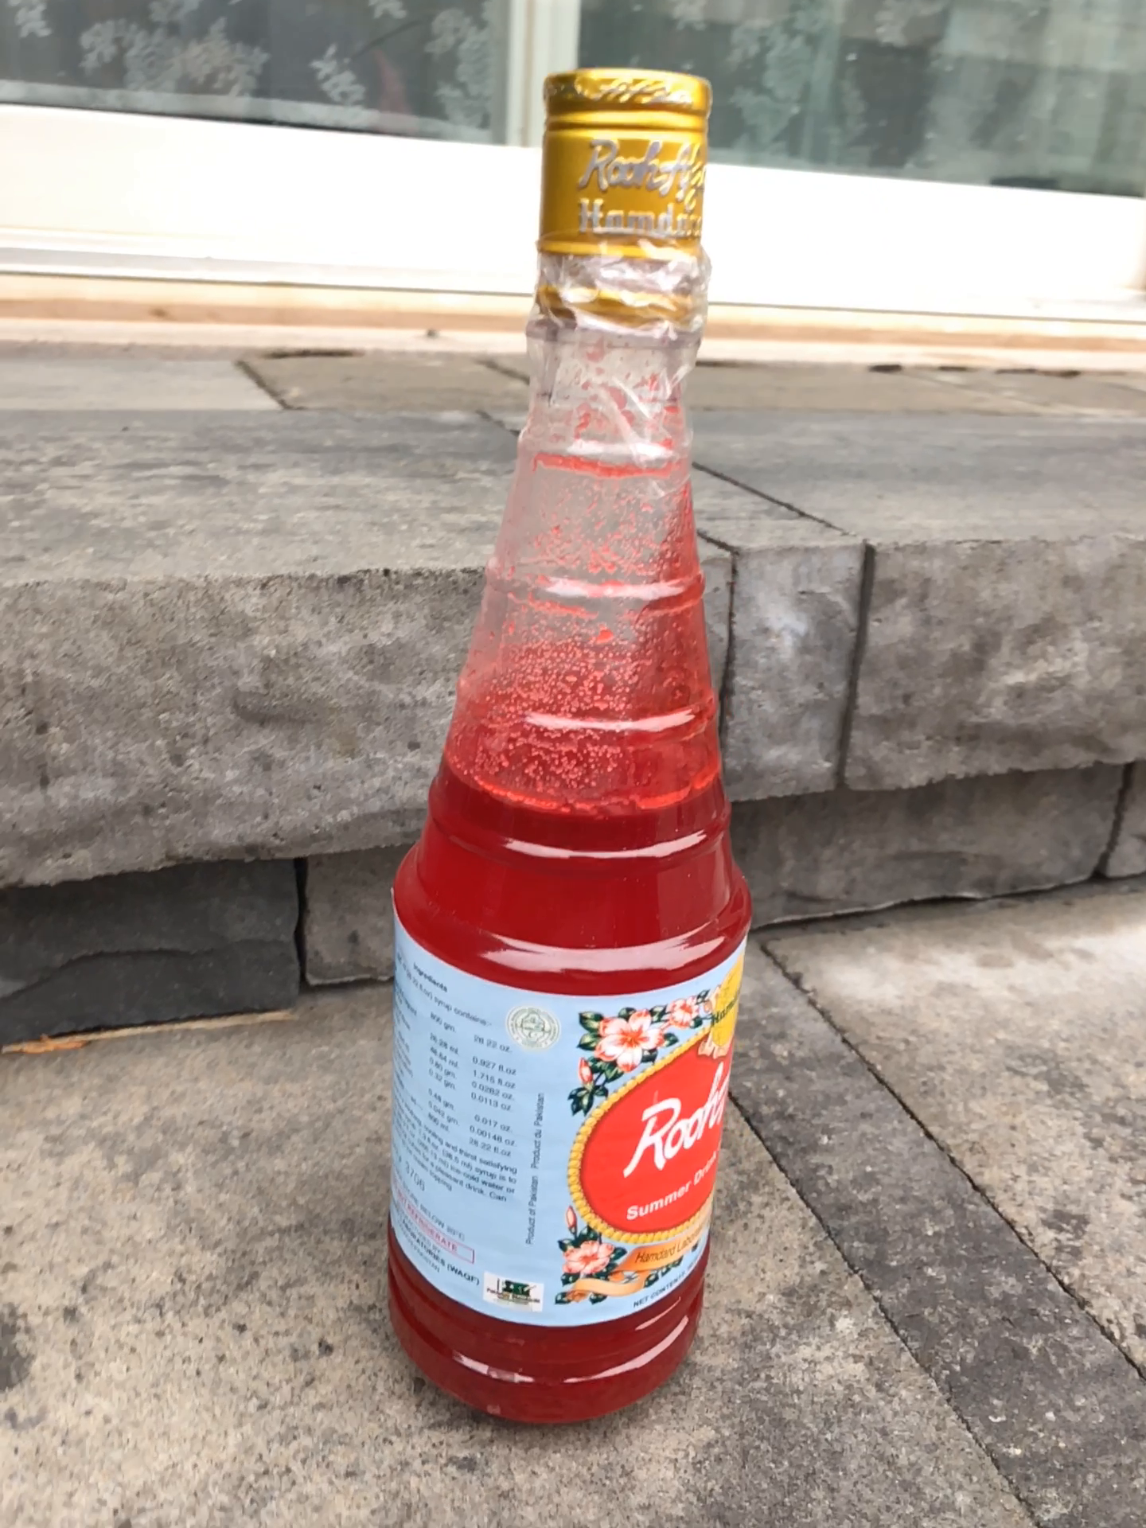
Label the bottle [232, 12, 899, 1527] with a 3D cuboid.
[{"bbox_3d":[-0.004,0.010,0.270,0.080,0.279,0.090,14,25,25],"label":"bottle"}]
